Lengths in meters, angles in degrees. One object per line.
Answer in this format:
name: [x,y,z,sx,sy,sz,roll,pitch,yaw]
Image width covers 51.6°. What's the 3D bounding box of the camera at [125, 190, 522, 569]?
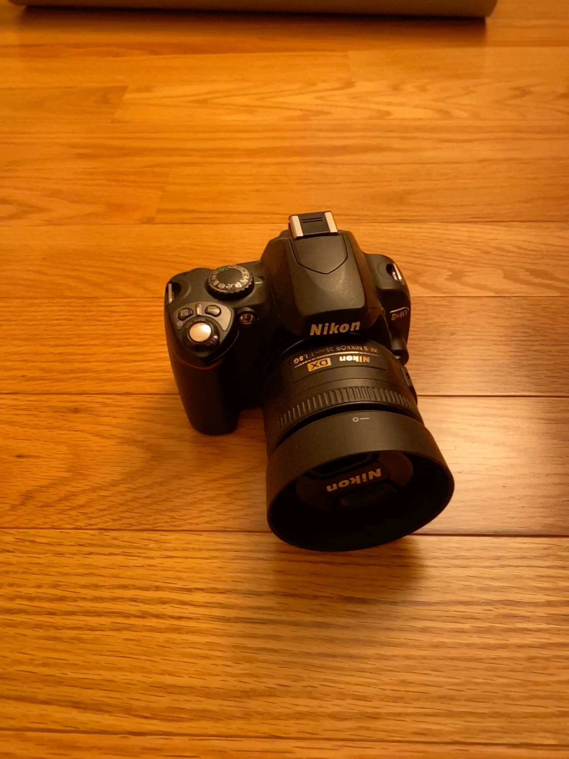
camera: [0.007,-0.007,0.267,0.130,0.080,0.141,-7,48,-3]
